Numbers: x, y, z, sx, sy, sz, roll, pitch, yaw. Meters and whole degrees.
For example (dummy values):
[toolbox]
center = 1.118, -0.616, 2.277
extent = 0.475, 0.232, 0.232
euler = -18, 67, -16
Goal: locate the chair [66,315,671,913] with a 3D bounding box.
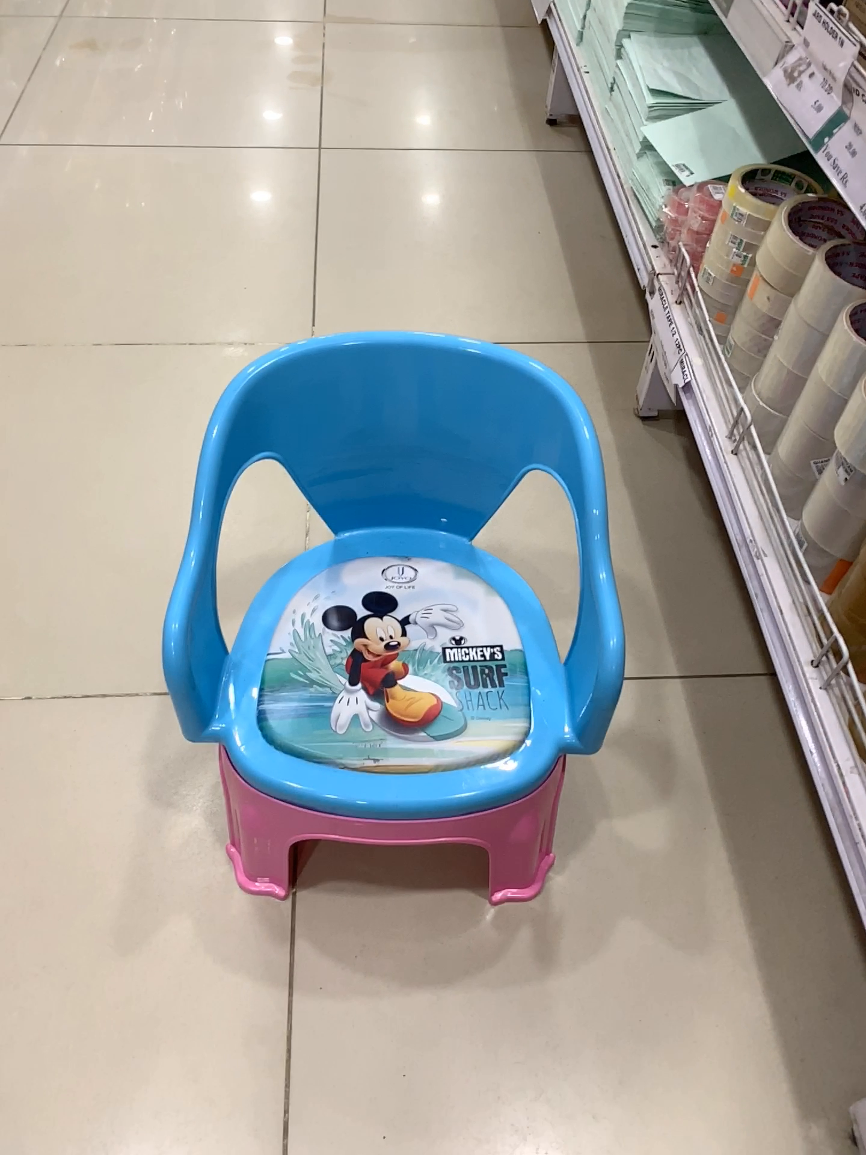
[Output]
[chair]
center = -0.038, 0.034, 0.756
extent = 0.350, 0.319, 0.391
euler = 2, 52, -1
